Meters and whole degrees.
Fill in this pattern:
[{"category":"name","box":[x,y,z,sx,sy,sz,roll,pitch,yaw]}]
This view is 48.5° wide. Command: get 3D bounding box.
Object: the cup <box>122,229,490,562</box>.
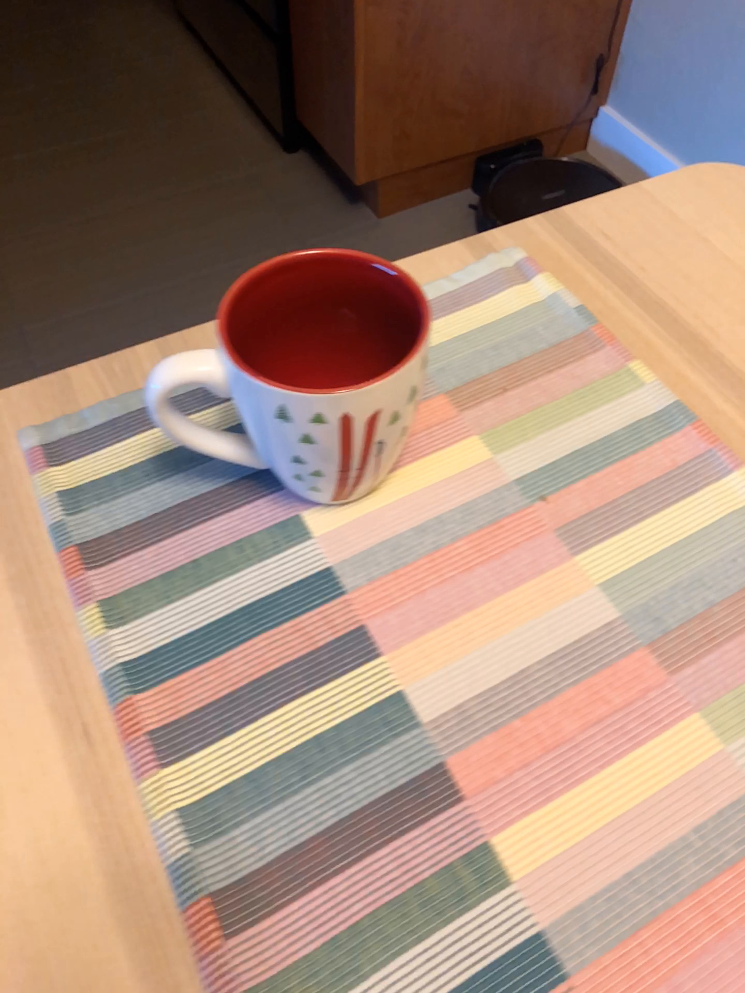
[{"category":"cup","box":[-0.033,-0.048,0.389,0.140,0.090,0.100,-11,54,-9]}]
